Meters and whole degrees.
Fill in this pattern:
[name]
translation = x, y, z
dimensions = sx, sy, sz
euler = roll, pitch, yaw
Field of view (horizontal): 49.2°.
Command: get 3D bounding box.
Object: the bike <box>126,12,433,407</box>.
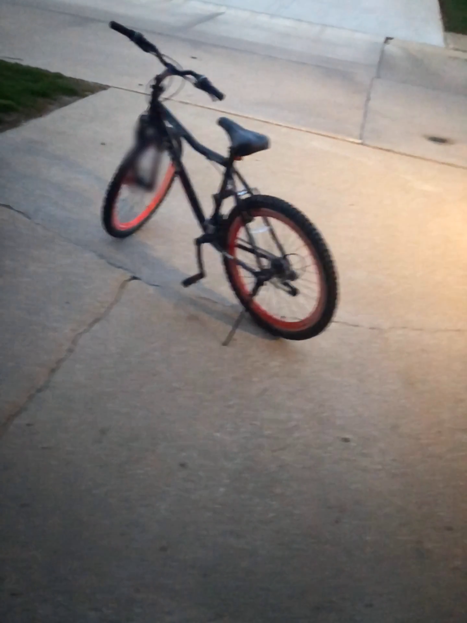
[bike]
translation = 0.033, -0.576, 2.276
dimensions = 0.599, 1.031, 1.427
euler = -14, 44, -29
